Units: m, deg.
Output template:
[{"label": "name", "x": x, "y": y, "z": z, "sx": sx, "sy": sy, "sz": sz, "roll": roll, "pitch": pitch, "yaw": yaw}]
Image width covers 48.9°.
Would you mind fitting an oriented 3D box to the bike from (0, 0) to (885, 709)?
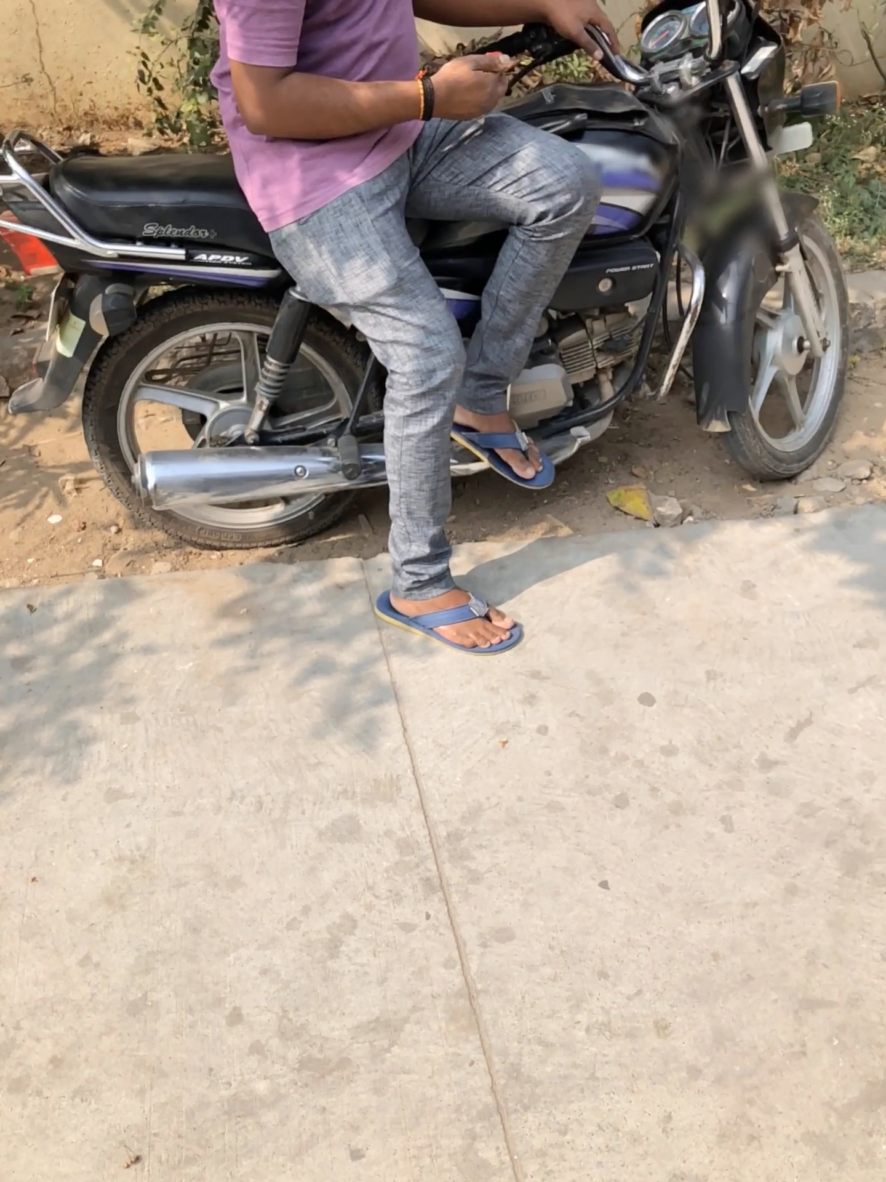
[{"label": "bike", "x": 0.102, "y": -0.736, "z": 2.069, "sx": 1.761, "sy": 1.294, "sz": 0.774, "roll": -15, "pitch": 44, "yaw": -9}]
